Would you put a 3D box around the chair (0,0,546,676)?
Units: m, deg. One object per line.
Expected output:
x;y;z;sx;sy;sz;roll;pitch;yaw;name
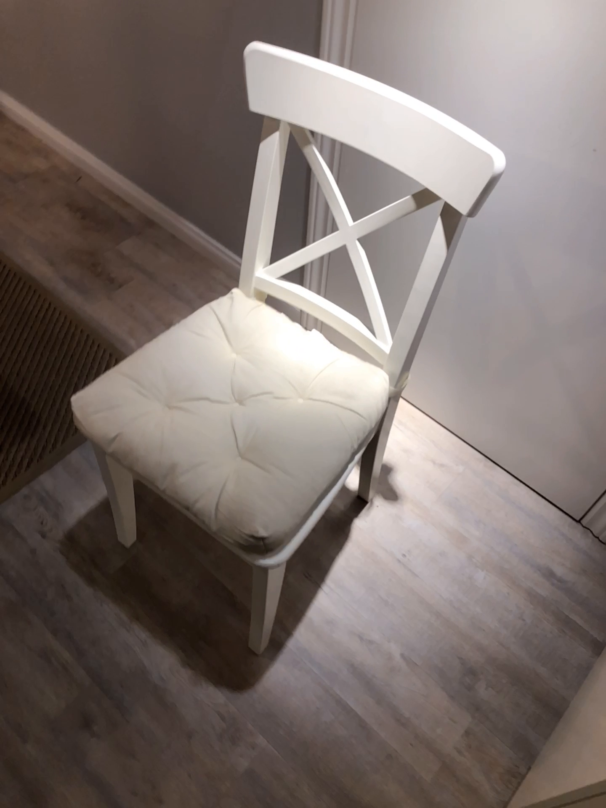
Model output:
-0.074;-0.031;1.067;0.451;0.875;0.512;32;58;18;chair
